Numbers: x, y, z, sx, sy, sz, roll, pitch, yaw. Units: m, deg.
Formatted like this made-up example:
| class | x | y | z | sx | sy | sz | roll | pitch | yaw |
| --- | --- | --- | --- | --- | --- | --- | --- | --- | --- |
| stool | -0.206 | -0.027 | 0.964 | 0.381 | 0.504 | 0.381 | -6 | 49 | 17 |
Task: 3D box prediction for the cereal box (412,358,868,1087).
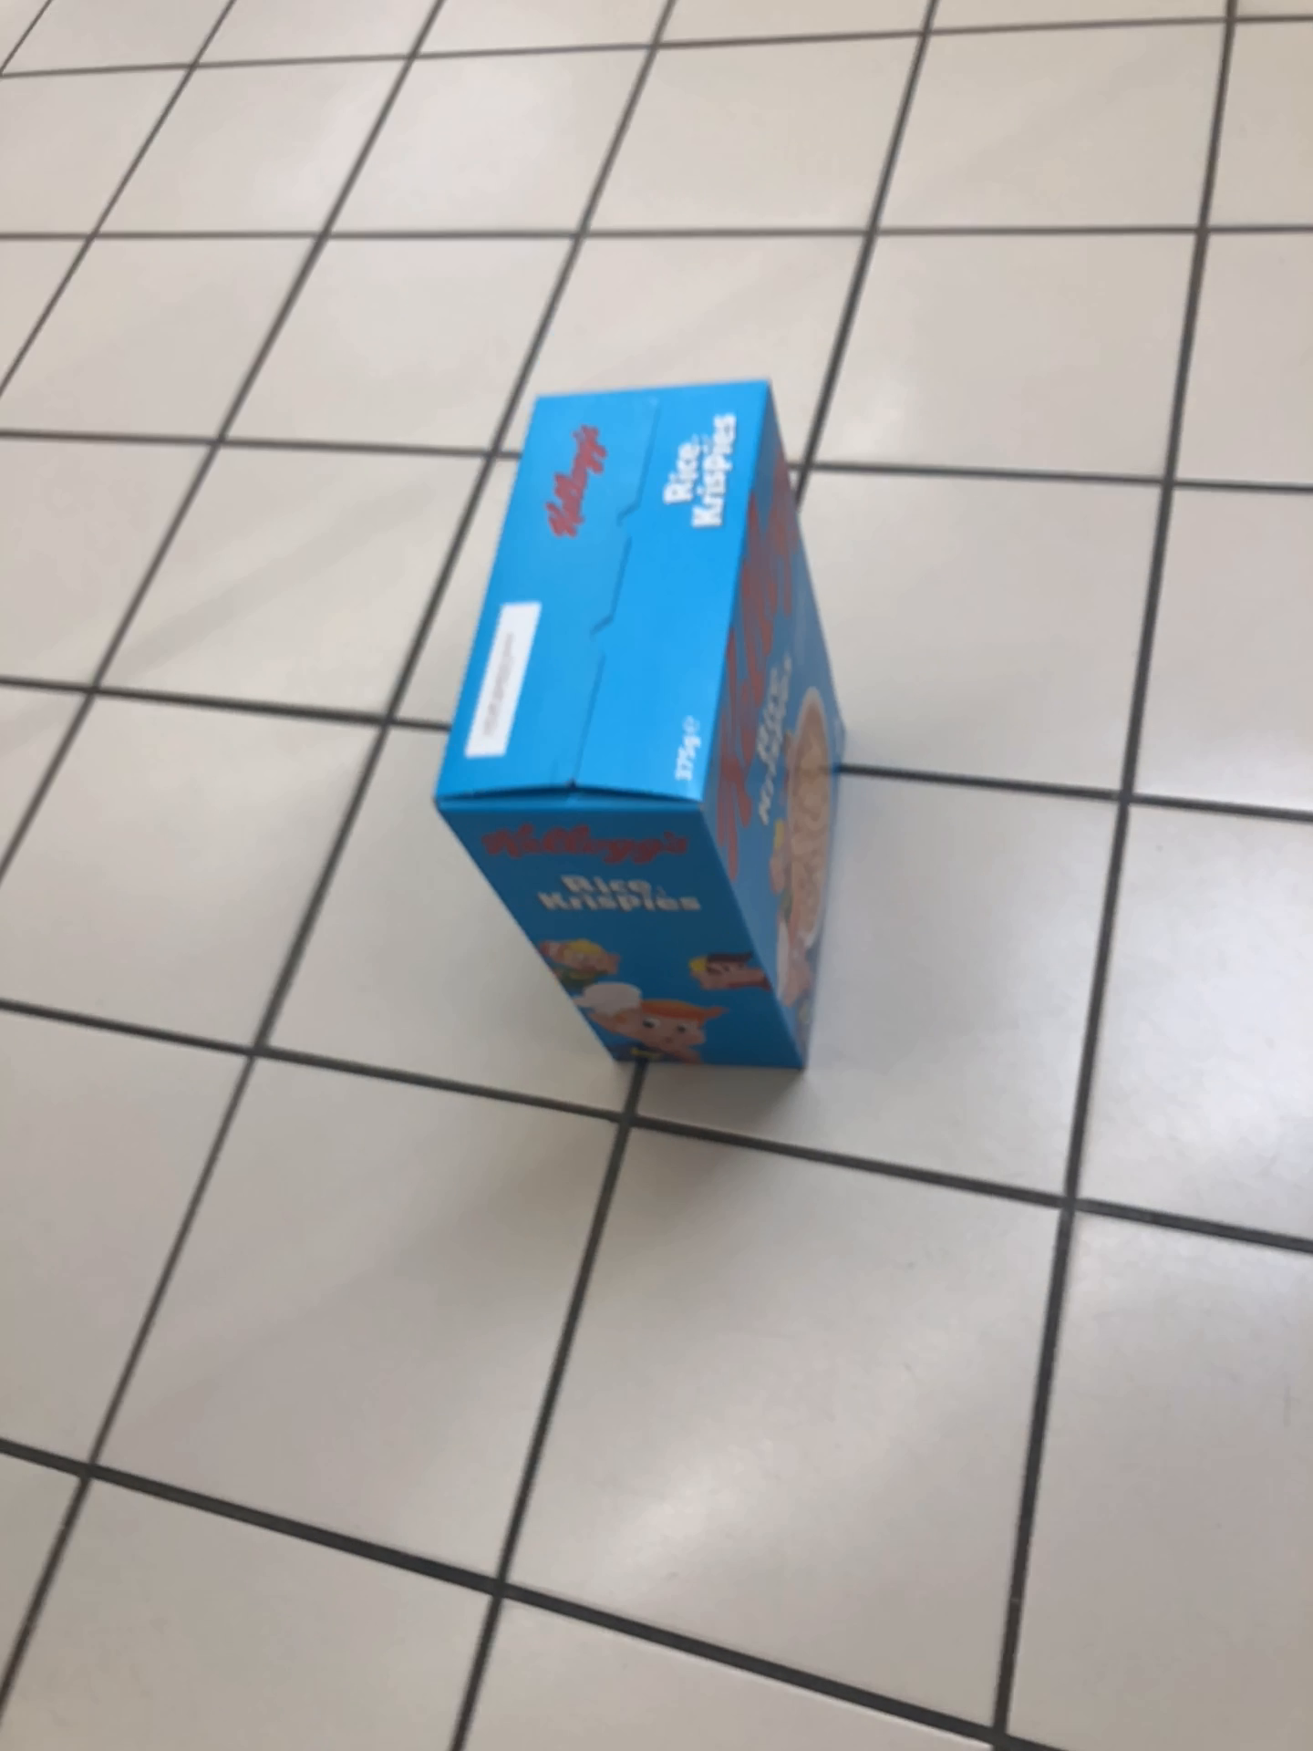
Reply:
| class | x | y | z | sx | sy | sz | roll | pitch | yaw |
| --- | --- | --- | --- | --- | --- | --- | --- | --- | --- |
| cereal box | 0.014 | -0.052 | 0.618 | 0.110 | 0.239 | 0.201 | 3 | 62 | 15 |
